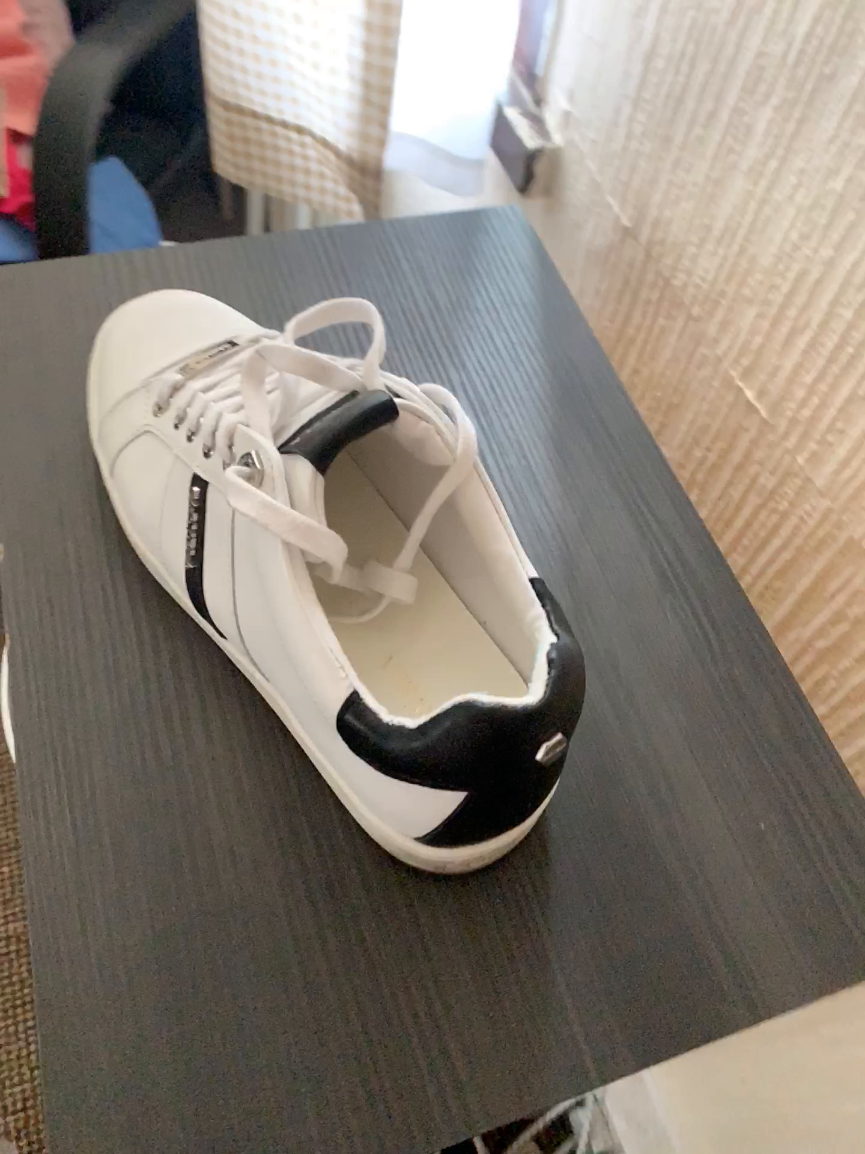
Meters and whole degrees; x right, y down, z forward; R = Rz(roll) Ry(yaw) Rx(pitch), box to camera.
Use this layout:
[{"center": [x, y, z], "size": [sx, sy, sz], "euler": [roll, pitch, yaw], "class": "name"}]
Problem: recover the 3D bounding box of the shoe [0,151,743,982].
[{"center": [-0.044, -0.020, 0.297], "size": [0.104, 0.087, 0.261], "euler": [-31, 65, -24], "class": "shoe"}]
